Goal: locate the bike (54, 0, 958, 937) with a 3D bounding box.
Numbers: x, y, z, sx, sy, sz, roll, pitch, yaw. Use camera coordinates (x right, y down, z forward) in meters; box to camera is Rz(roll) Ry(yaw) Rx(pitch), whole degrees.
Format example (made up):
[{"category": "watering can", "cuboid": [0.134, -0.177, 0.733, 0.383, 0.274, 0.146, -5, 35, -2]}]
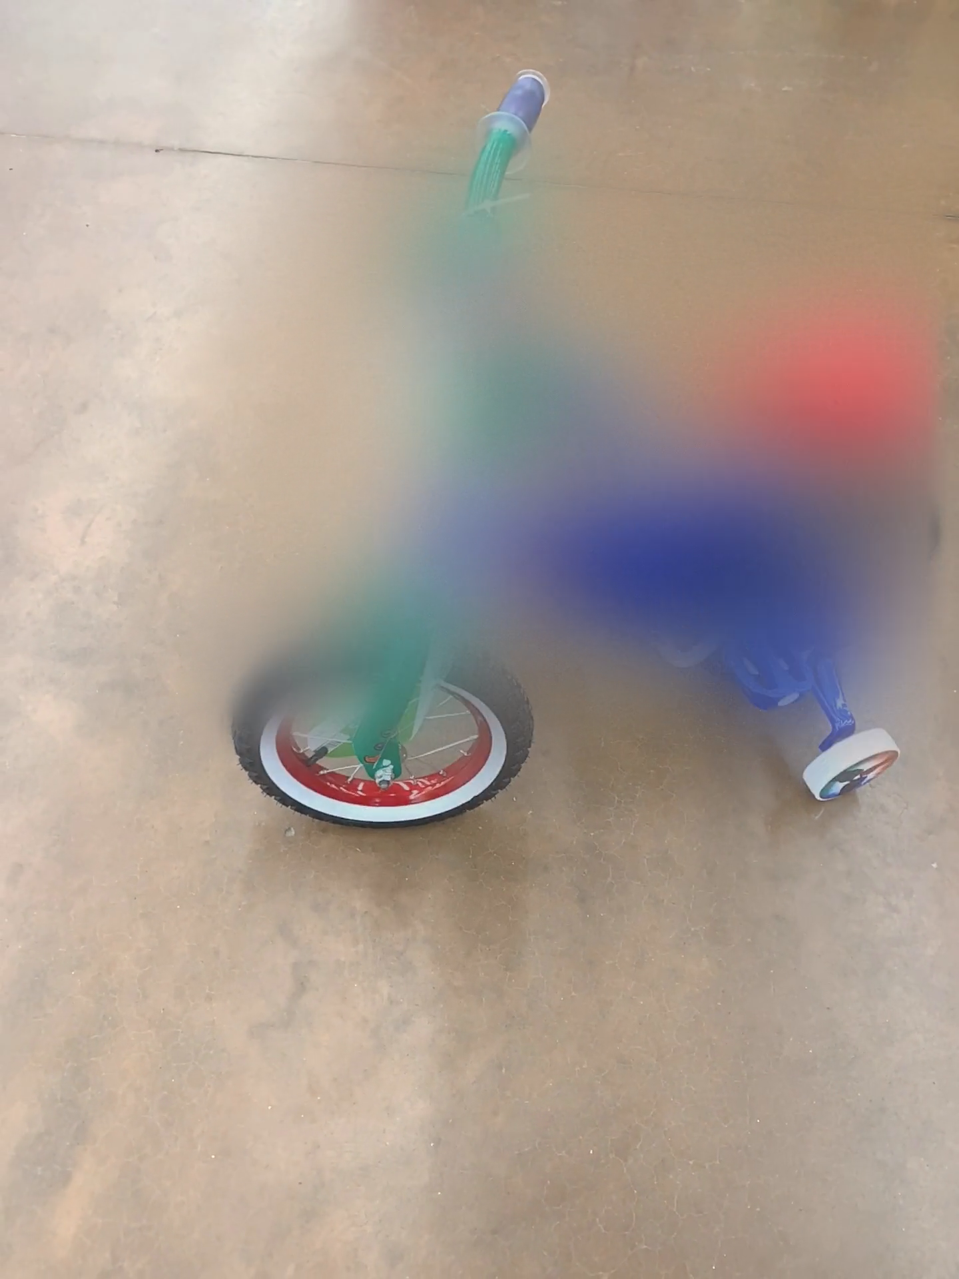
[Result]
[{"category": "bike", "cuboid": [0.144, -0.148, 0.939, 0.794, 0.695, 0.466, -13, 58, -12]}]
